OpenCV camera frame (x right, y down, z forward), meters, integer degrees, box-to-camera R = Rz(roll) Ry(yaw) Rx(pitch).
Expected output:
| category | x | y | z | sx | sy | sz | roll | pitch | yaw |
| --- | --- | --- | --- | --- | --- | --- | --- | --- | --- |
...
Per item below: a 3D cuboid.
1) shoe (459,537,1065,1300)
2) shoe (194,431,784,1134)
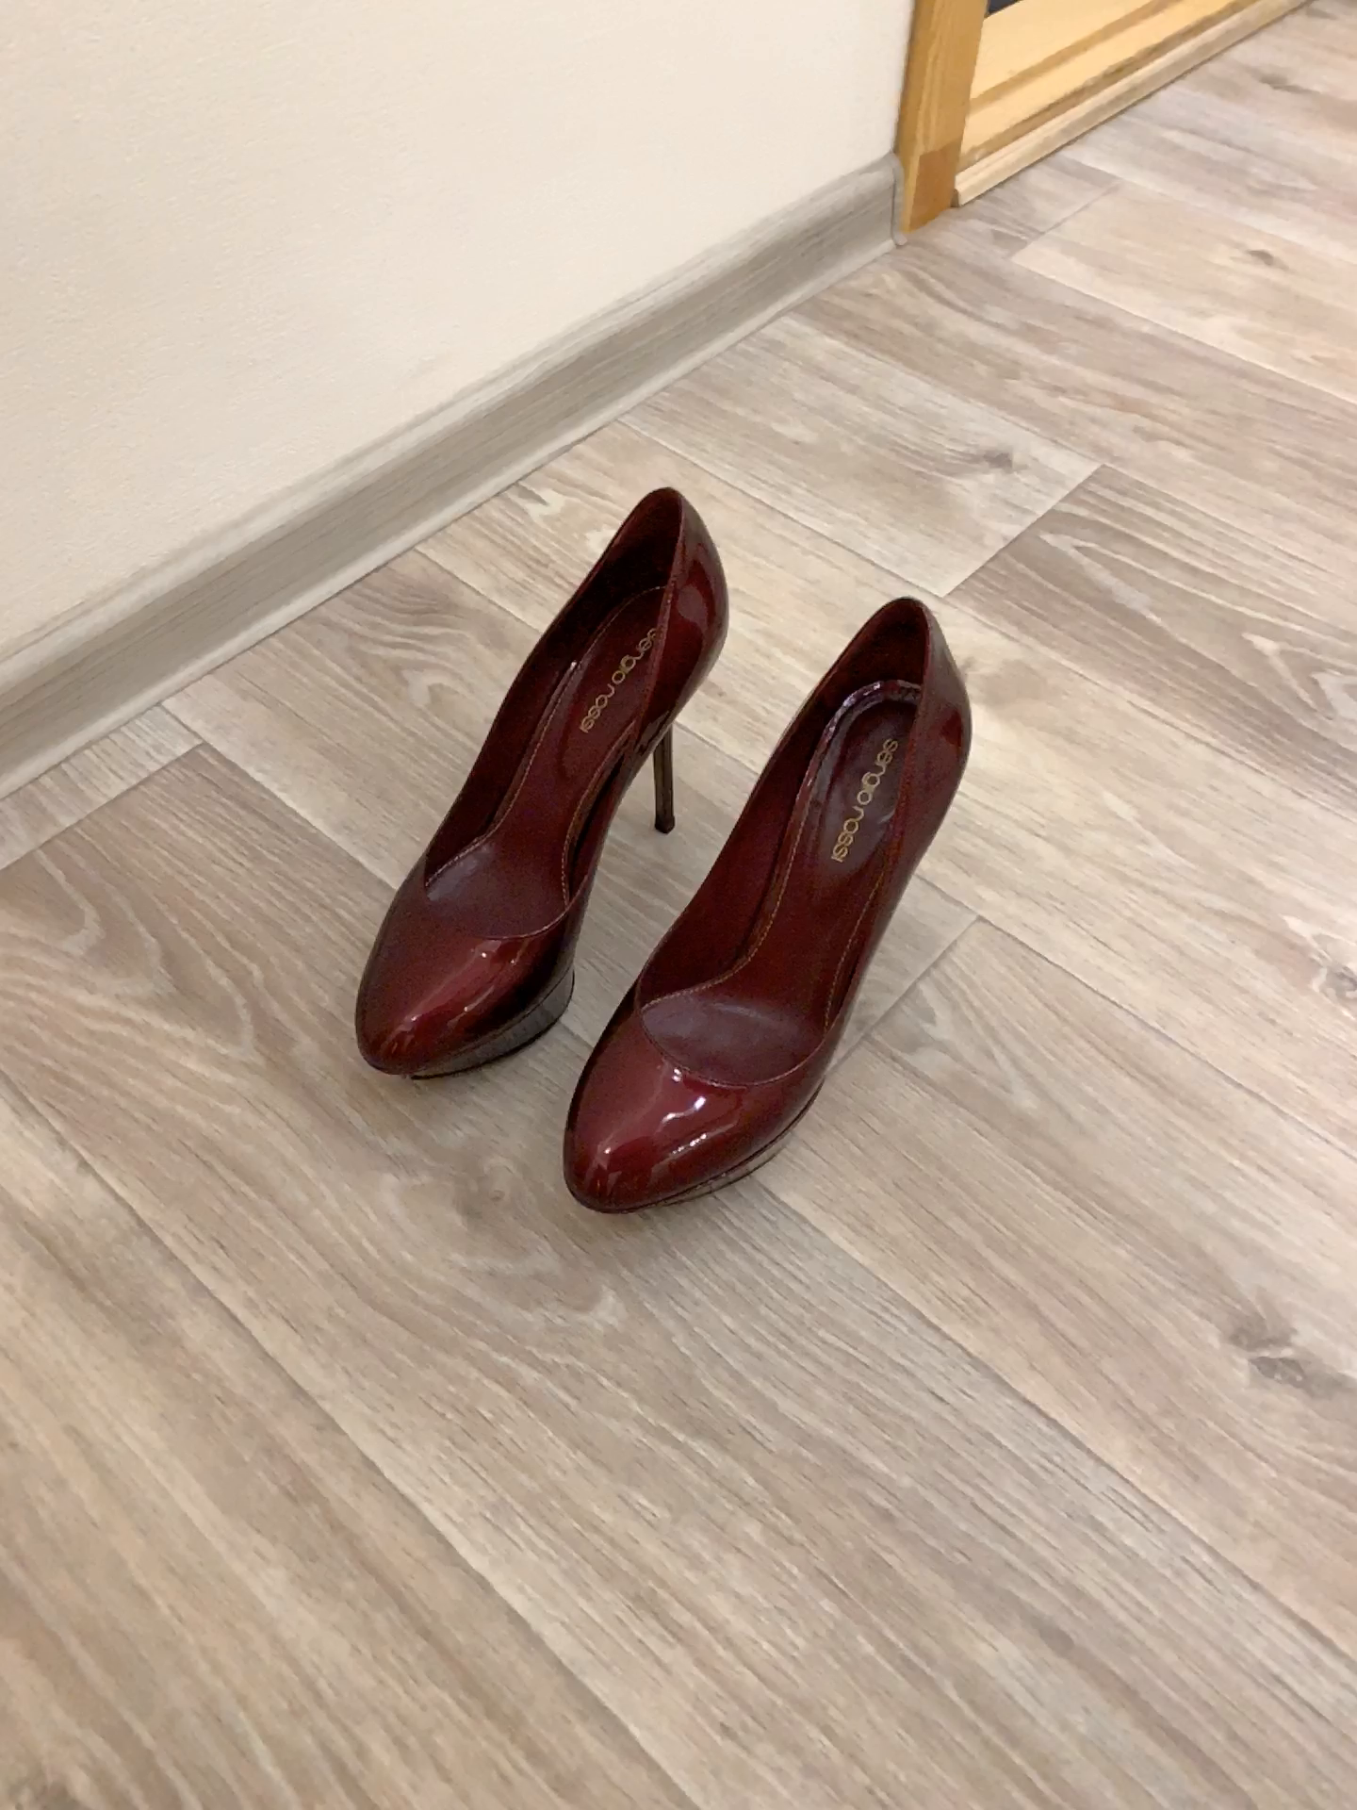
| category | x | y | z | sx | sy | sz | roll | pitch | yaw |
| --- | --- | --- | --- | --- | --- | --- | --- | --- | --- |
| shoe | 0.032 | 0.002 | 0.485 | 0.086 | 0.149 | 0.211 | 29 | 56 | 20 |
| shoe | -0.057 | -0.049 | 0.524 | 0.086 | 0.149 | 0.211 | 27 | 55 | 18 |
